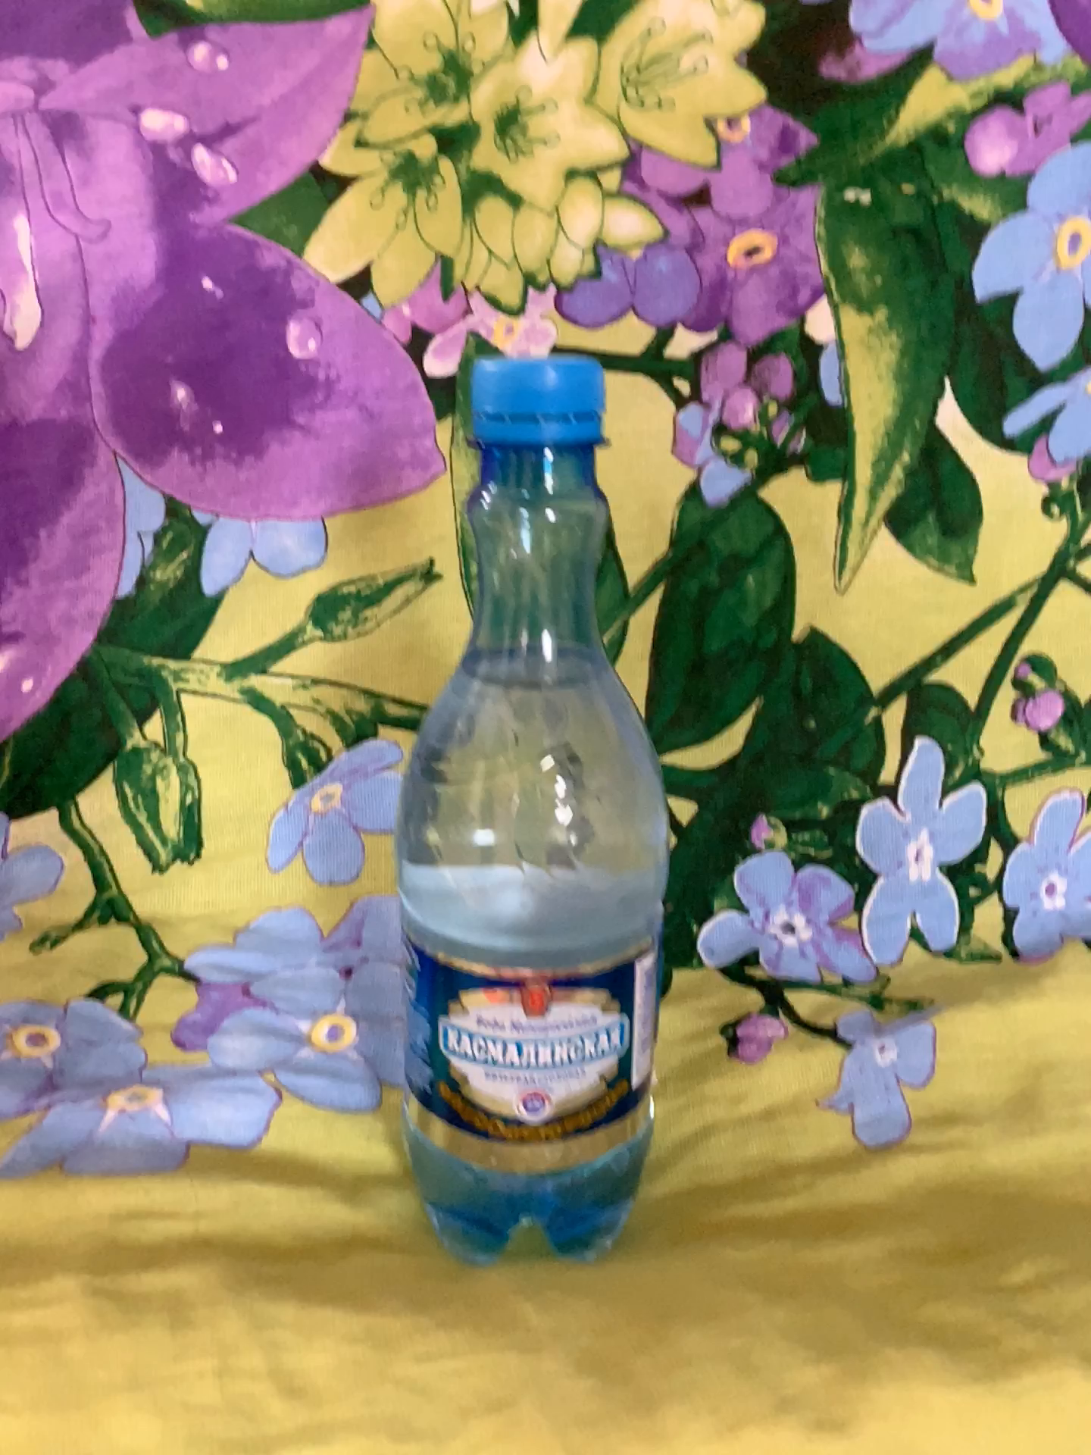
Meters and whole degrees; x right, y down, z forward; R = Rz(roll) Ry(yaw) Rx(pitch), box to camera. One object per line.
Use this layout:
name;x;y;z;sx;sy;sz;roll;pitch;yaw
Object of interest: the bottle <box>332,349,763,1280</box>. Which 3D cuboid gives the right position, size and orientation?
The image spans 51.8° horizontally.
bottle;0.000;0.023;0.279;0.080;0.218;0.070;0;20;-1
